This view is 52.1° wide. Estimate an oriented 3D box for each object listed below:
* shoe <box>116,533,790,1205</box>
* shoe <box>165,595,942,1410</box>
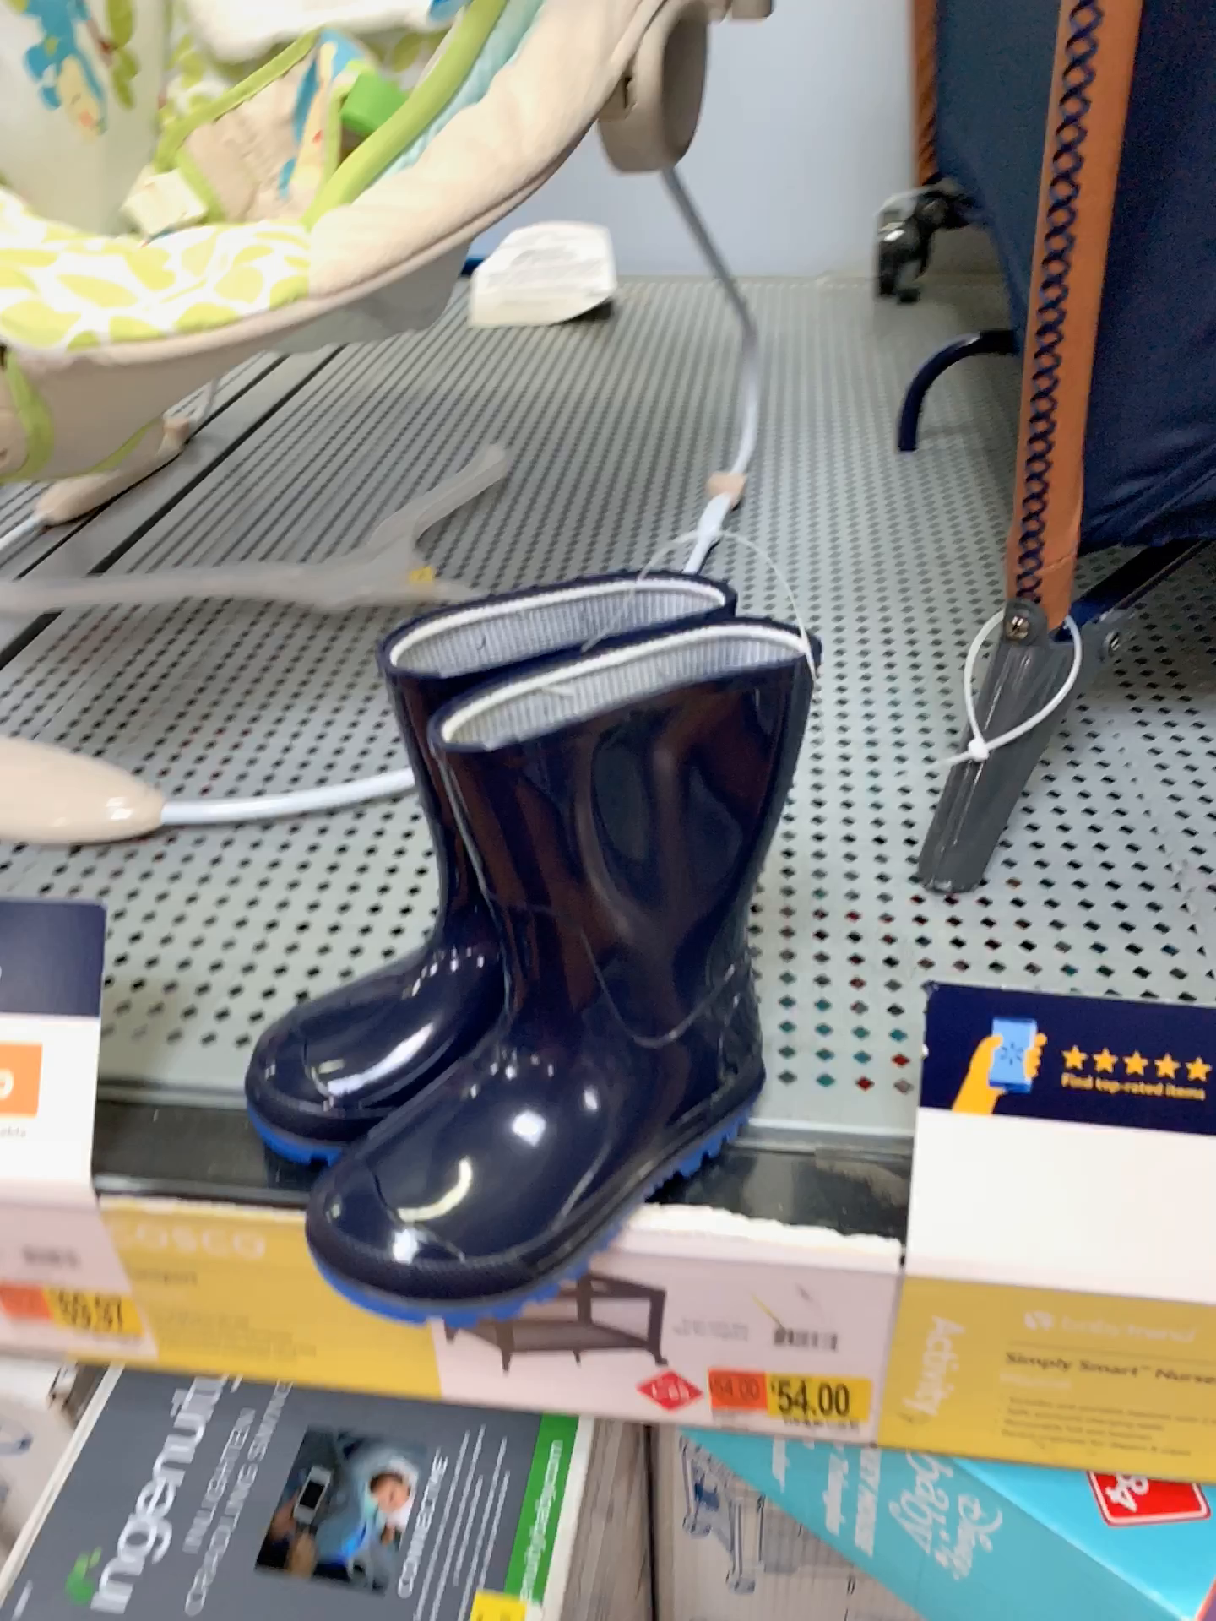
[{"bbox_3d":[-0.038,0.011,0.386,0.173,0.143,0.075,-19,35,-24],"label":"shoe"},{"bbox_3d":[-0.006,0.042,0.337,0.174,0.143,0.076,-22,36,-27],"label":"shoe"}]
